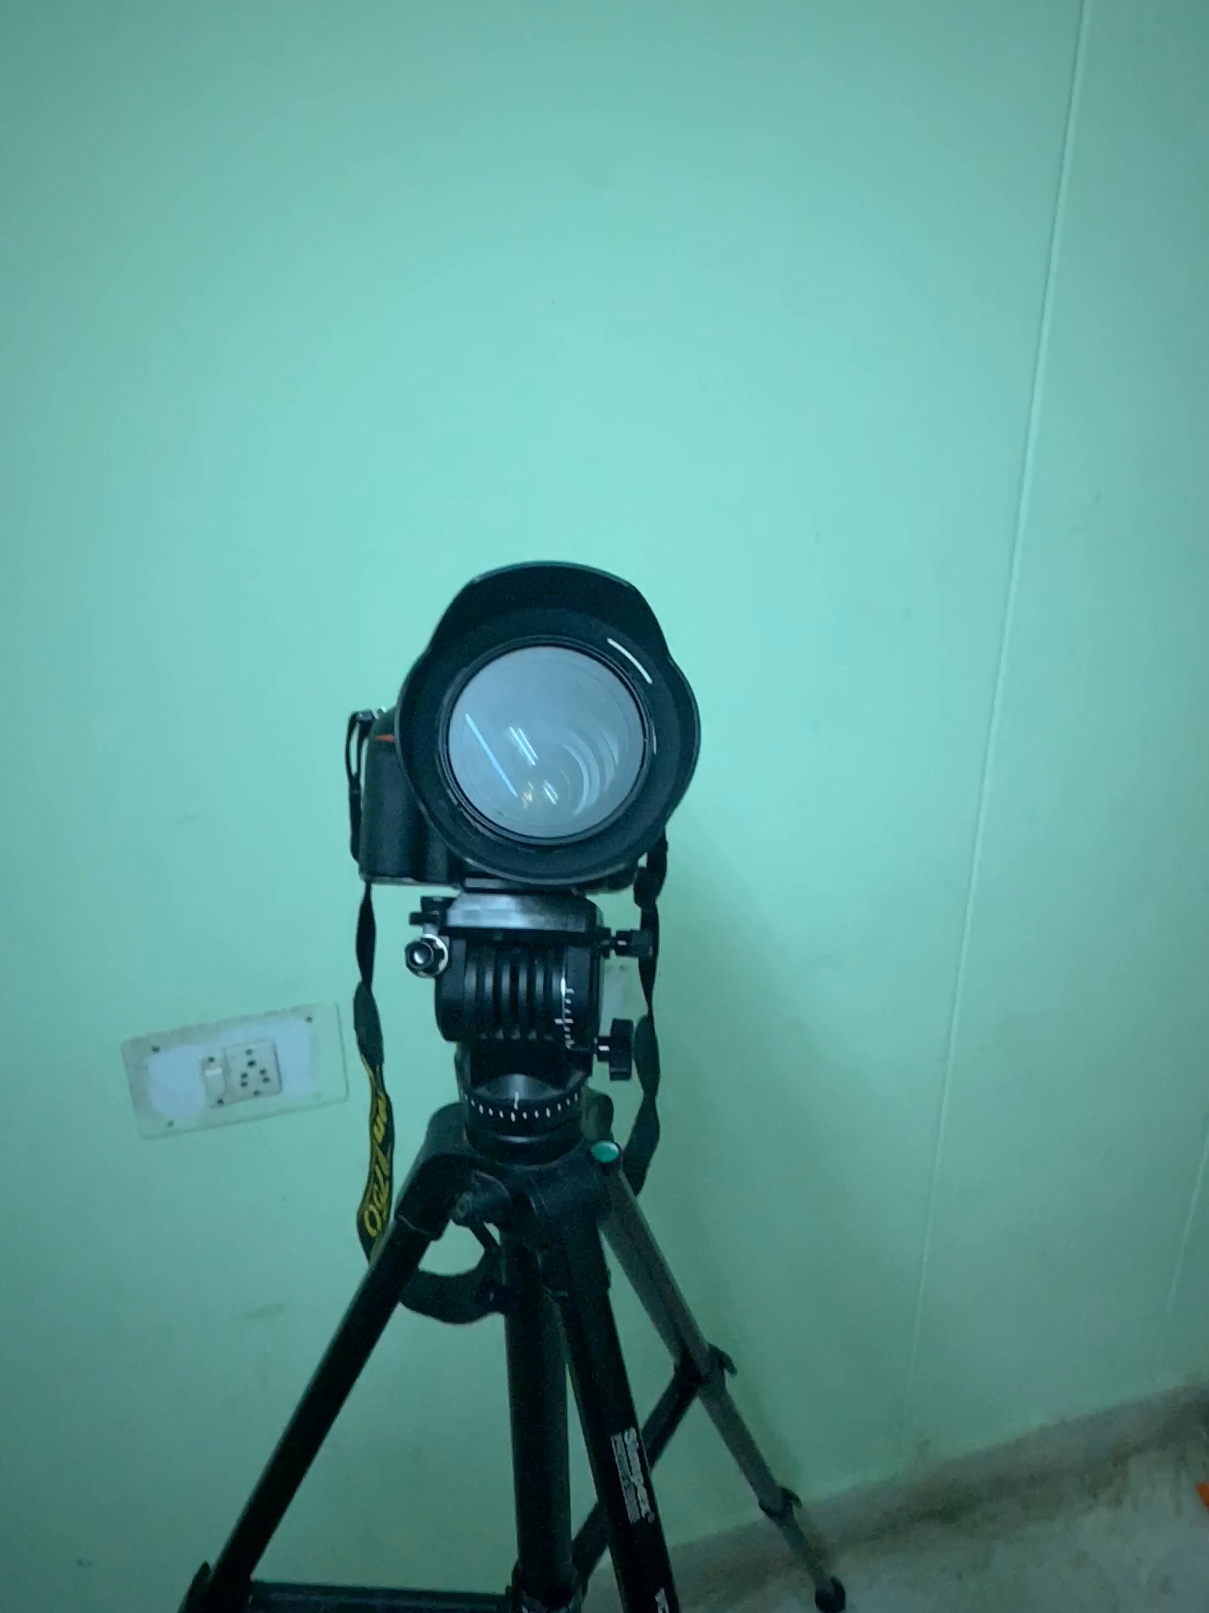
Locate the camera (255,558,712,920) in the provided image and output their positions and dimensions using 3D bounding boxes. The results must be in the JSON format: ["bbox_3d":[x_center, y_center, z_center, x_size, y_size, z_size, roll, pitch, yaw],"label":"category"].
[{"bbox_3d":[-0.047,-0.015,0.543,0.151,0.120,0.248,1,-4,-4],"label":"camera"}]
